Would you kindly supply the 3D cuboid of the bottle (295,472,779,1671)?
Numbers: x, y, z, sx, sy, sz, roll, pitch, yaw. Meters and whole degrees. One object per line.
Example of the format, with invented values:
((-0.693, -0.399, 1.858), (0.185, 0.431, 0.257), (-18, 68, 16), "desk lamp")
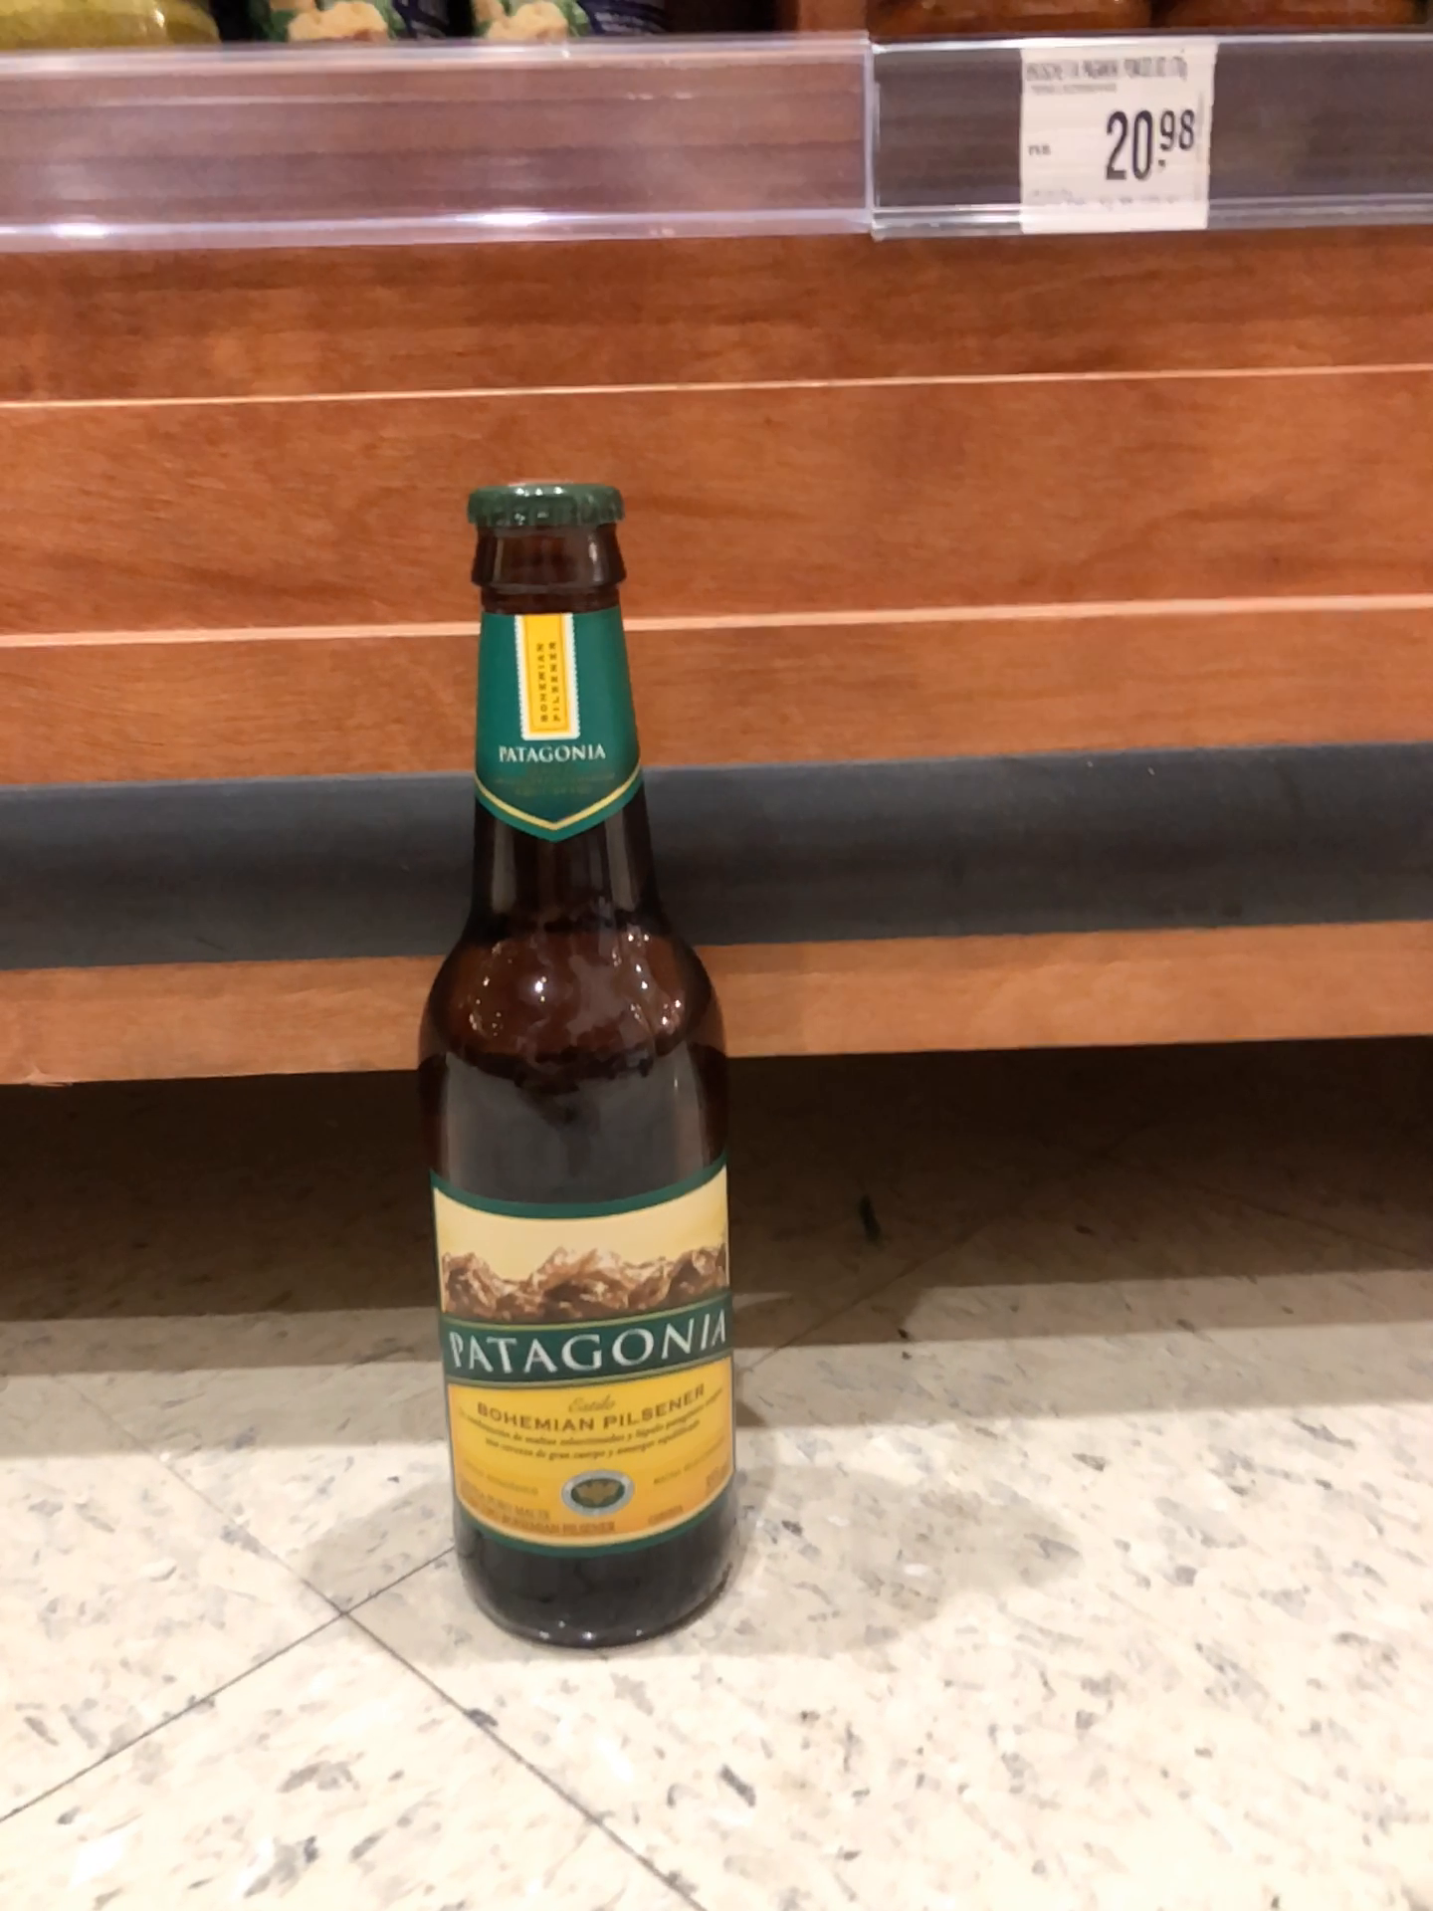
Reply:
((-0.027, 0.023, 0.304), (0.070, 0.219, 0.060), (-2, 17, 0), "bottle")
